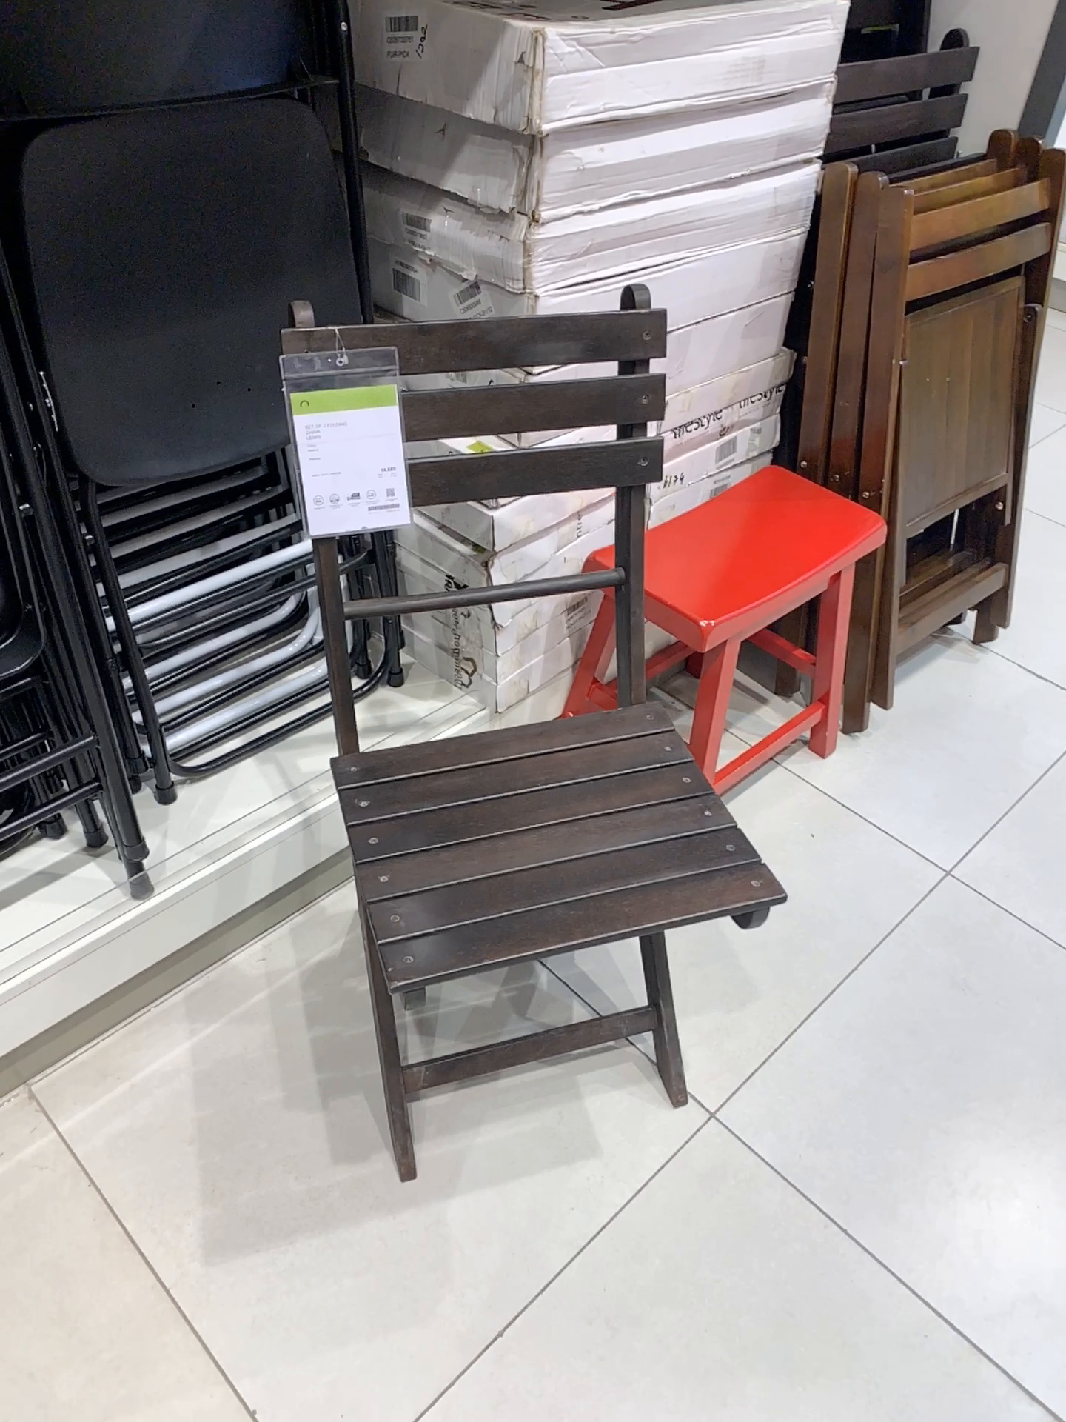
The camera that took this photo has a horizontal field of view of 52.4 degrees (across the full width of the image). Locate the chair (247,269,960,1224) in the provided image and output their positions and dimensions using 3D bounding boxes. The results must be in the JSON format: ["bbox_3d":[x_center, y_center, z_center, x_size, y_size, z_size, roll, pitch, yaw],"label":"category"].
[{"bbox_3d":[-0.010,0.046,1.105,0.420,0.797,0.482,-9,41,-16],"label":"chair"}]
